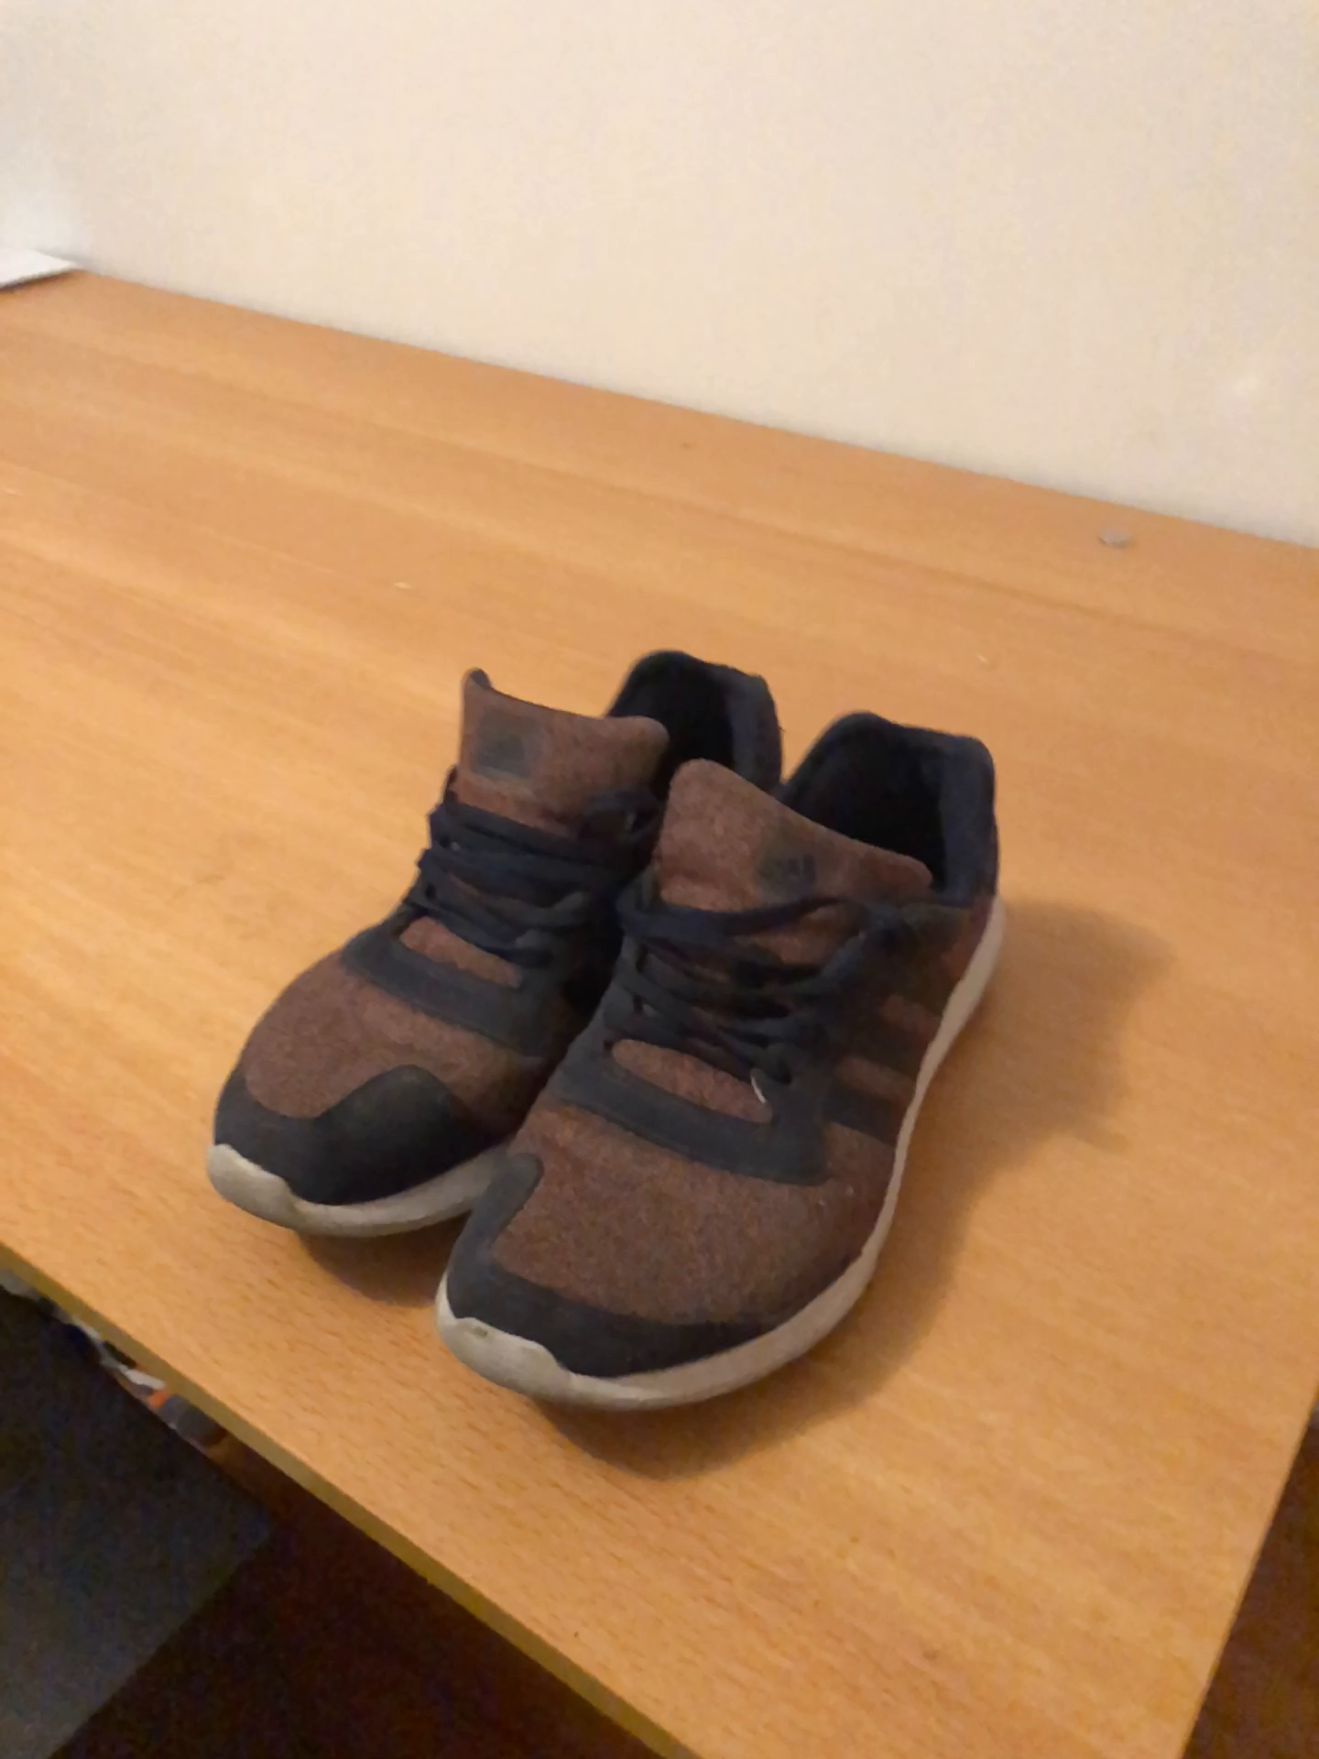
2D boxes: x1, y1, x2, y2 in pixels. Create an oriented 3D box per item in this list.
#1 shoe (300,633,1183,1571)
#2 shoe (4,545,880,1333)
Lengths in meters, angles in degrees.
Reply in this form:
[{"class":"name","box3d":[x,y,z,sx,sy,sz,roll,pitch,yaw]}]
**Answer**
[{"class":"shoe","box3d":[0.041,0.038,0.433,0.130,0.099,0.261,21,42,27]},{"class":"shoe","box3d":[-0.051,-0.006,0.508,0.130,0.099,0.292,21,42,27]}]
